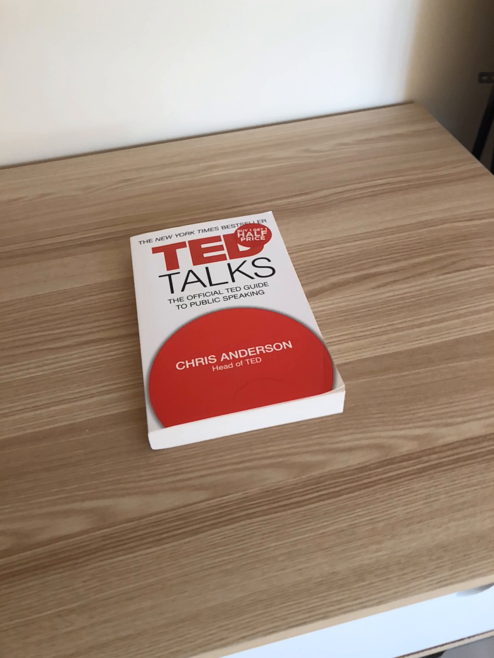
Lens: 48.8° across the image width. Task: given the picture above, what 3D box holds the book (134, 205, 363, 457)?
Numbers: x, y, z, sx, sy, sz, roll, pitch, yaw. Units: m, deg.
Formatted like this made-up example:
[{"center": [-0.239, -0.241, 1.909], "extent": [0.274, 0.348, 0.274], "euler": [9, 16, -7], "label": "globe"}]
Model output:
[{"center": [-0.012, -0.015, 0.438], "extent": [0.138, 0.030, 0.221], "euler": [-11, 47, -6], "label": "book"}]
